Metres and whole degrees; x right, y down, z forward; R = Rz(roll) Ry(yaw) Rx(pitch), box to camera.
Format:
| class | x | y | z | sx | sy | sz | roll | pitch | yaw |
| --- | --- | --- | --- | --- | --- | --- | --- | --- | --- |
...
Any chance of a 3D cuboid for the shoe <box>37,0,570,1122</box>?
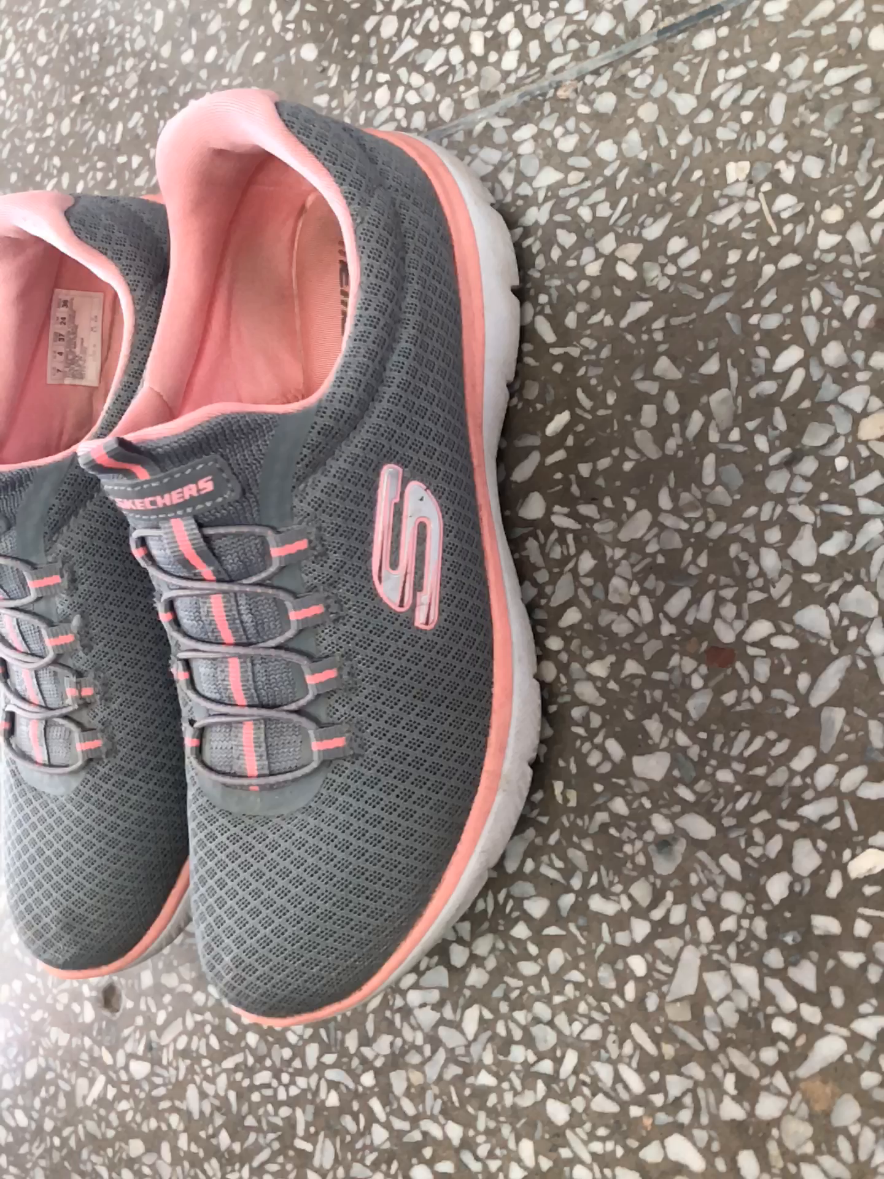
| class | x | y | z | sx | sy | sz | roll | pitch | yaw |
| --- | --- | --- | --- | --- | --- | --- | --- | --- | --- |
| shoe | -0.030 | -0.008 | 0.265 | 0.090 | 0.100 | 0.230 | 0 | 86 | 32 |

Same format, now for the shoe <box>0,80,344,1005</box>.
| class | x | y | z | sx | sy | sz | roll | pitch | yaw |
| --- | --- | --- | --- | --- | --- | --- | --- | --- | --- |
| shoe | -0.103 | -0.012 | 0.321 | 0.090 | 0.100 | 0.240 | 0 | 86 | 32 |
